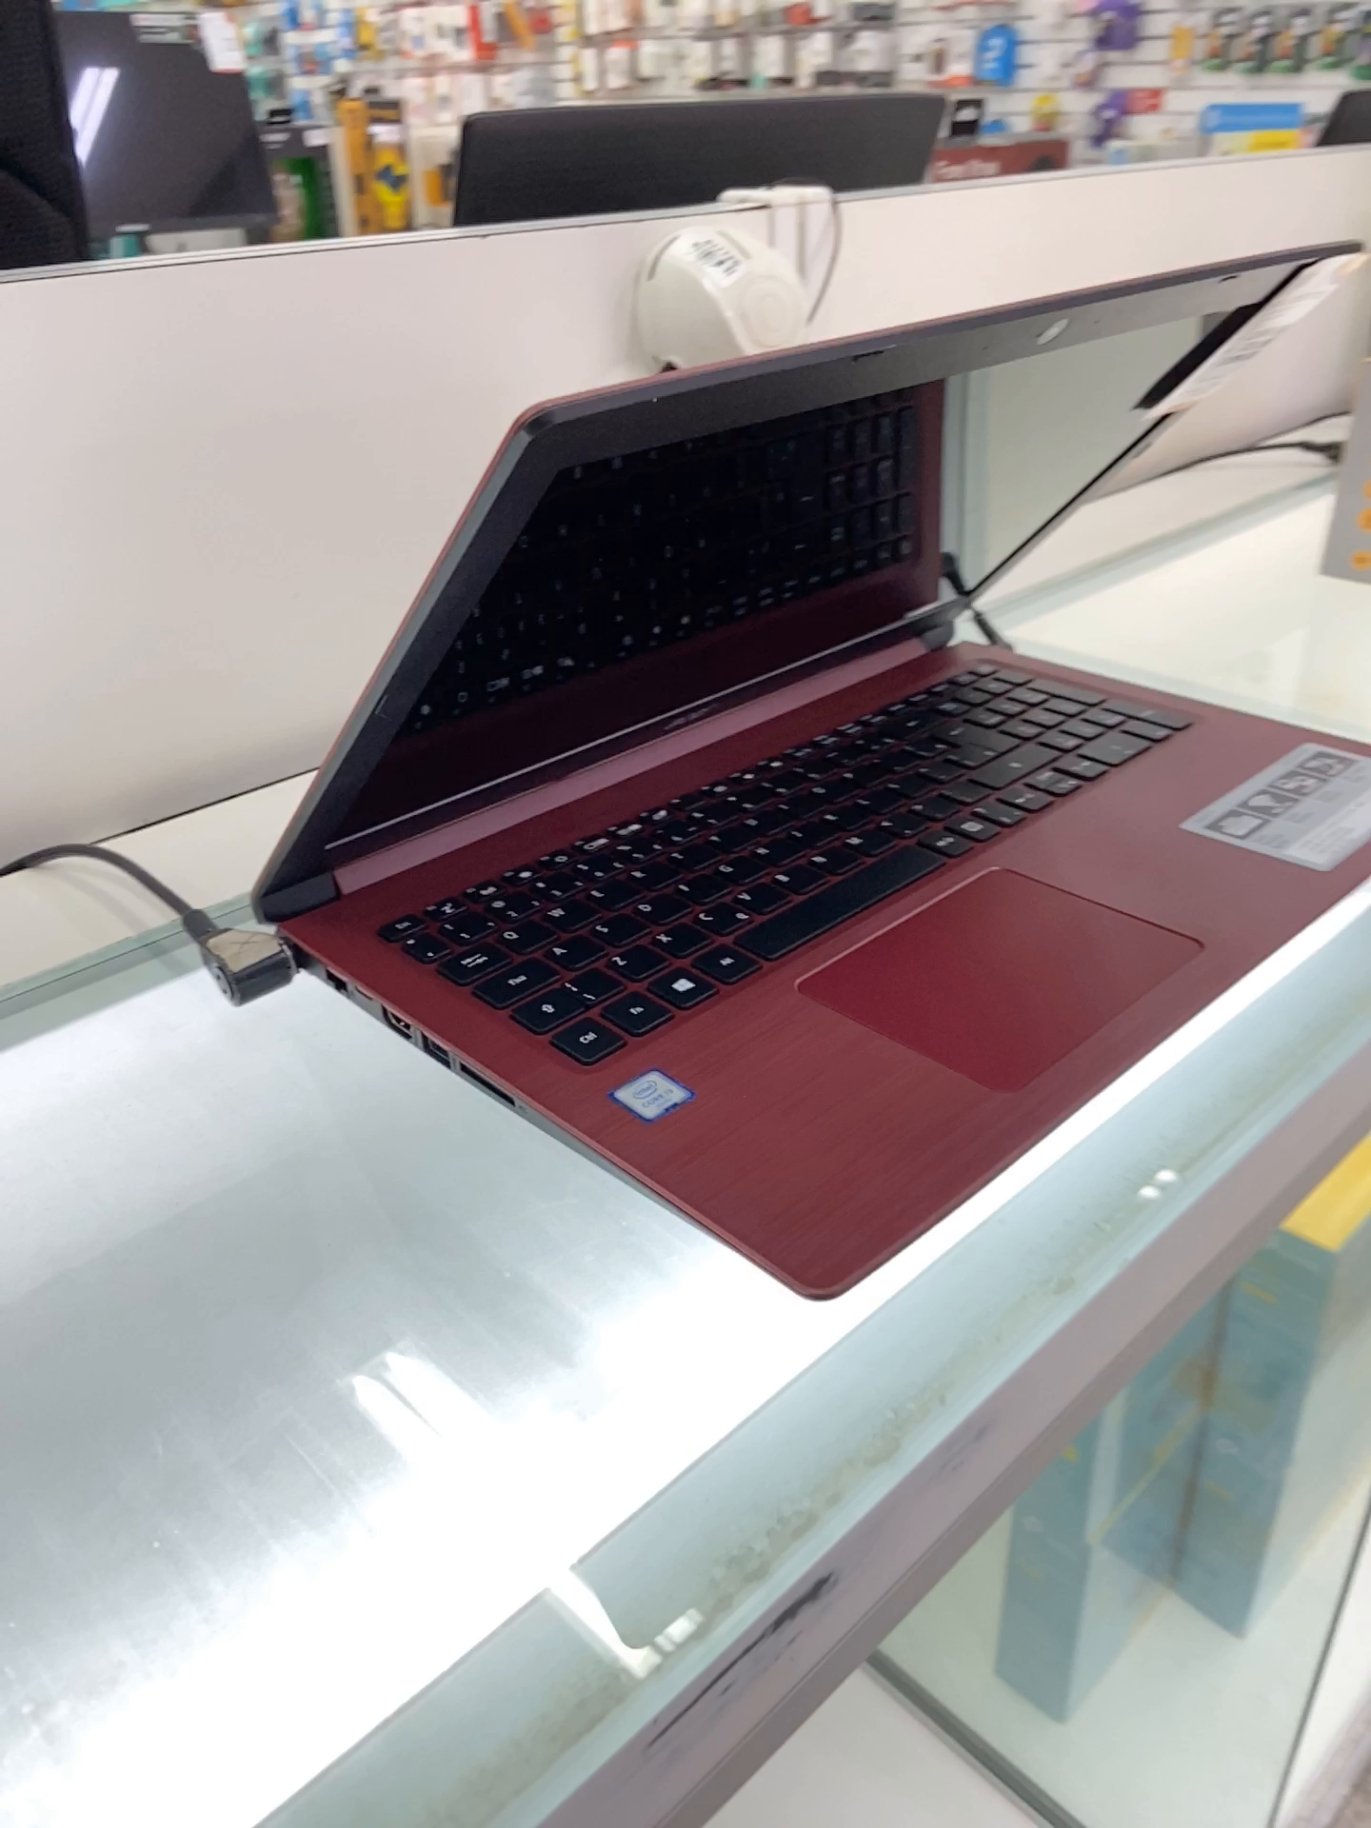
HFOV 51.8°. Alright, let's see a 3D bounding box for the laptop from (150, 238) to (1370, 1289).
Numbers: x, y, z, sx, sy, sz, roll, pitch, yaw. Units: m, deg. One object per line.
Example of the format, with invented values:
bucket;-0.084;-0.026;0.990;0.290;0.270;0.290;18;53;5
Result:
laptop;0.075;-0.101;0.452;0.368;0.179;0.238;-26;37;-37
